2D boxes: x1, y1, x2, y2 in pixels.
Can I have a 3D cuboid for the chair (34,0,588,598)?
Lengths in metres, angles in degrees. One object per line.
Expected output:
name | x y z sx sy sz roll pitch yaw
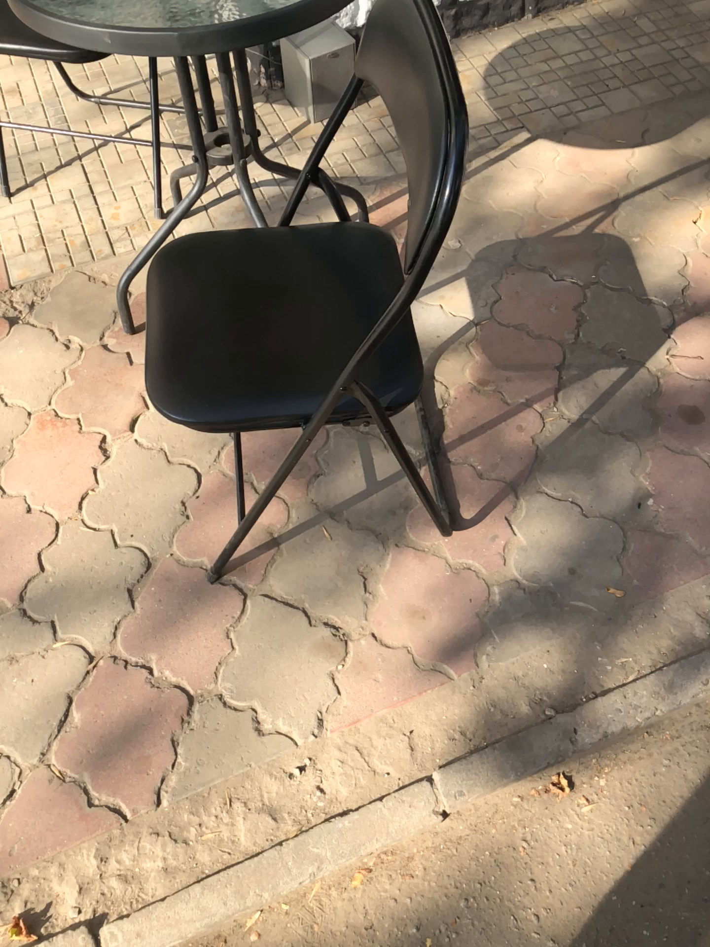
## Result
chair | -0.065 -0.242 1.110 0.500 0.638 0.531 -8 55 -4
